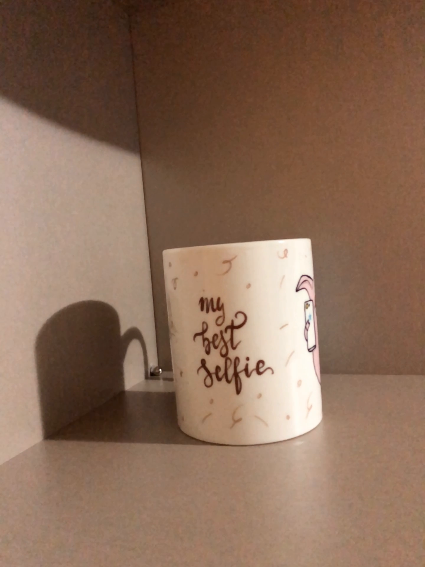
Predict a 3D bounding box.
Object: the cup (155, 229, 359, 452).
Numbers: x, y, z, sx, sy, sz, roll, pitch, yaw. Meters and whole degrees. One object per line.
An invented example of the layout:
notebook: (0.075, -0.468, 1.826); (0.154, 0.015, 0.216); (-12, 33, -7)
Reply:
cup: (0.021, 0.023, 0.274); (0.086, 0.096, 0.118); (-5, 3, 0)
